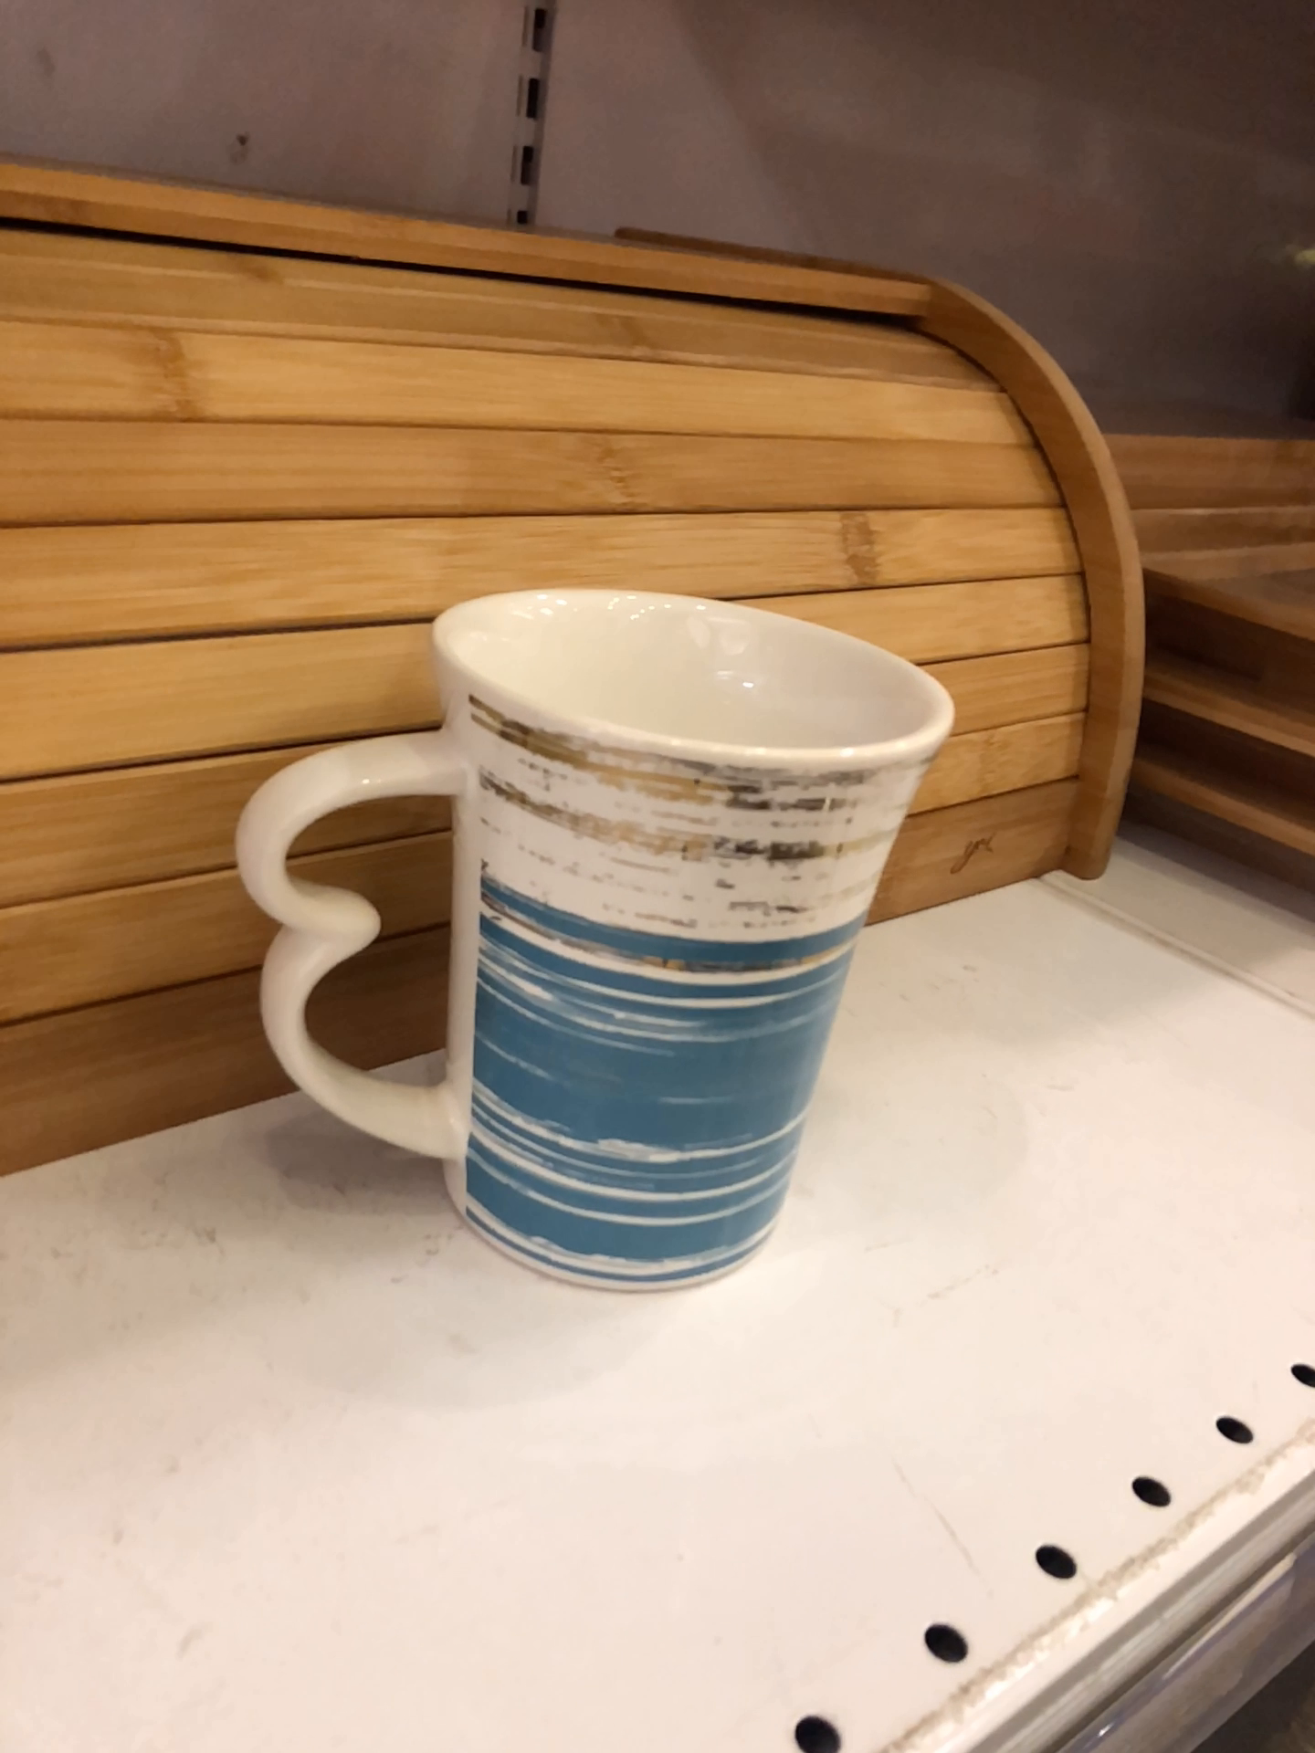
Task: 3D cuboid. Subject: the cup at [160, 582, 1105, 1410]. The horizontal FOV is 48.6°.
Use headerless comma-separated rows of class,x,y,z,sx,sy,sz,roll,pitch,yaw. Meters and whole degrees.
cup,-0.012,0.007,0.245,0.120,0.089,0.090,-6,28,-30
